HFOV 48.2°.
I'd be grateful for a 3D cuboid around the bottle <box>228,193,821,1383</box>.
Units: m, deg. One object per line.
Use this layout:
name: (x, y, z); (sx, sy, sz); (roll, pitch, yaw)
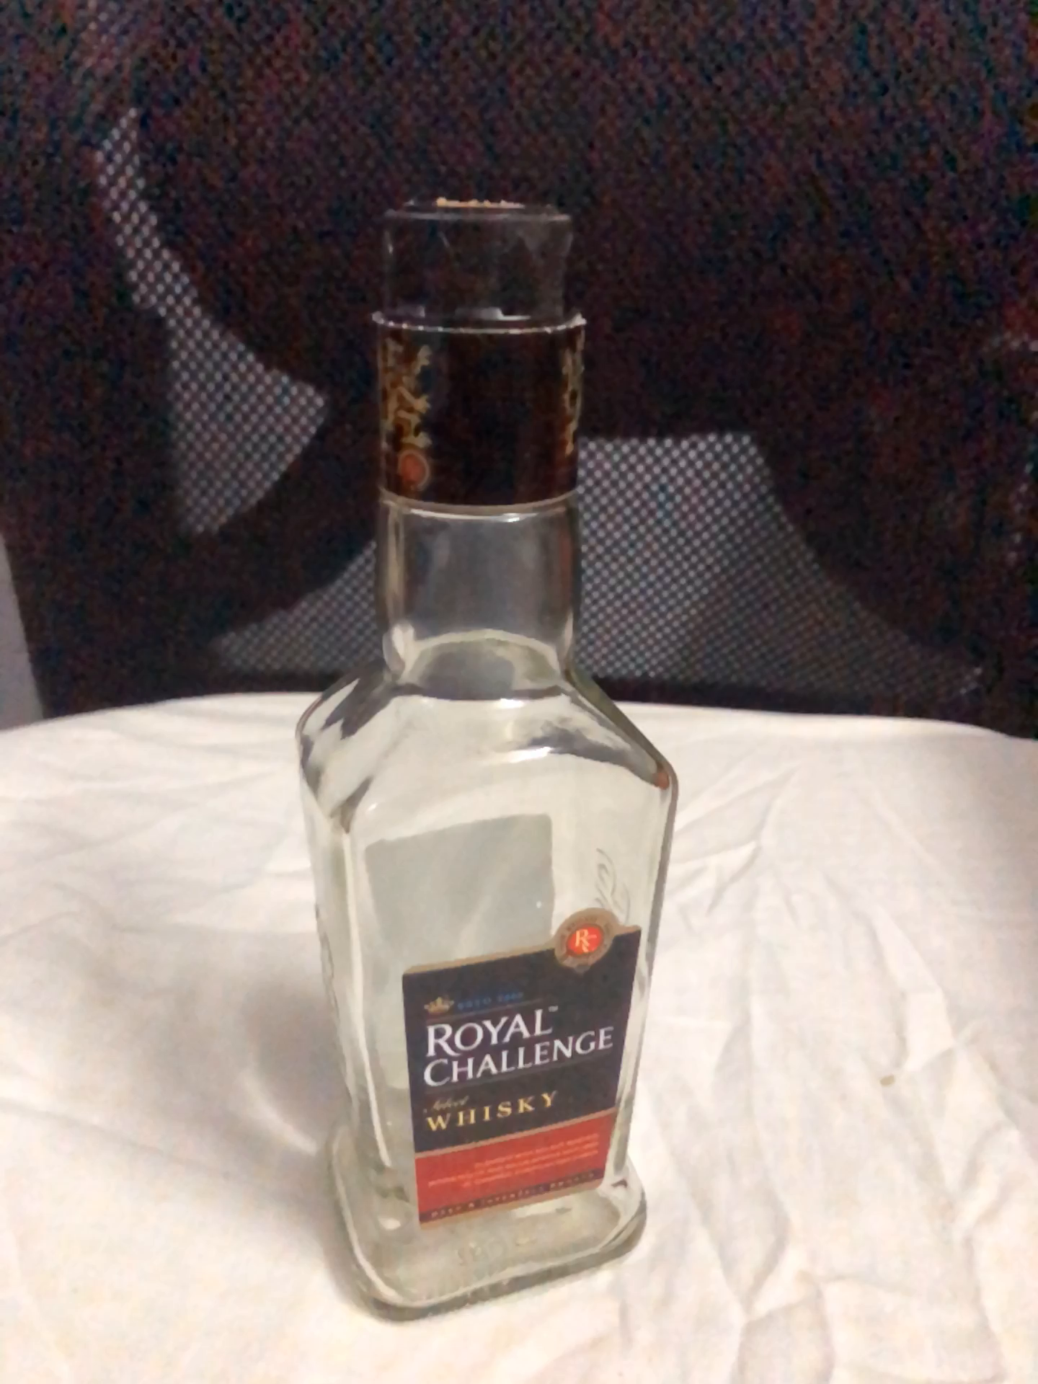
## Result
bottle: (-0.004, 0.023, 0.203); (0.070, 0.199, 0.050); (-7, 26, -18)
